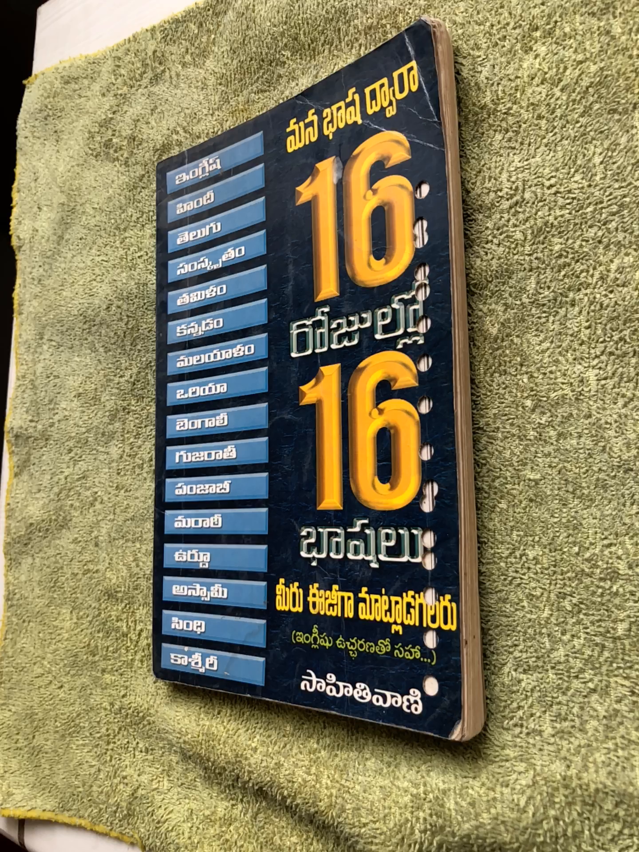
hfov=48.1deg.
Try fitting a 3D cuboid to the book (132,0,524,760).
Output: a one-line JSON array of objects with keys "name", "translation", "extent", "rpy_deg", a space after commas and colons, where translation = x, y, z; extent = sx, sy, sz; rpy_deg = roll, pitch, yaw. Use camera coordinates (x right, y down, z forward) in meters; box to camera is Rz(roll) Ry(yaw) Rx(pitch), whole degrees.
[{"name": "book", "translation": [-0.008, -0.019, 0.246], "extent": [0.141, 0.030, 0.220], "rpy_deg": [-7, 81, 40]}]
